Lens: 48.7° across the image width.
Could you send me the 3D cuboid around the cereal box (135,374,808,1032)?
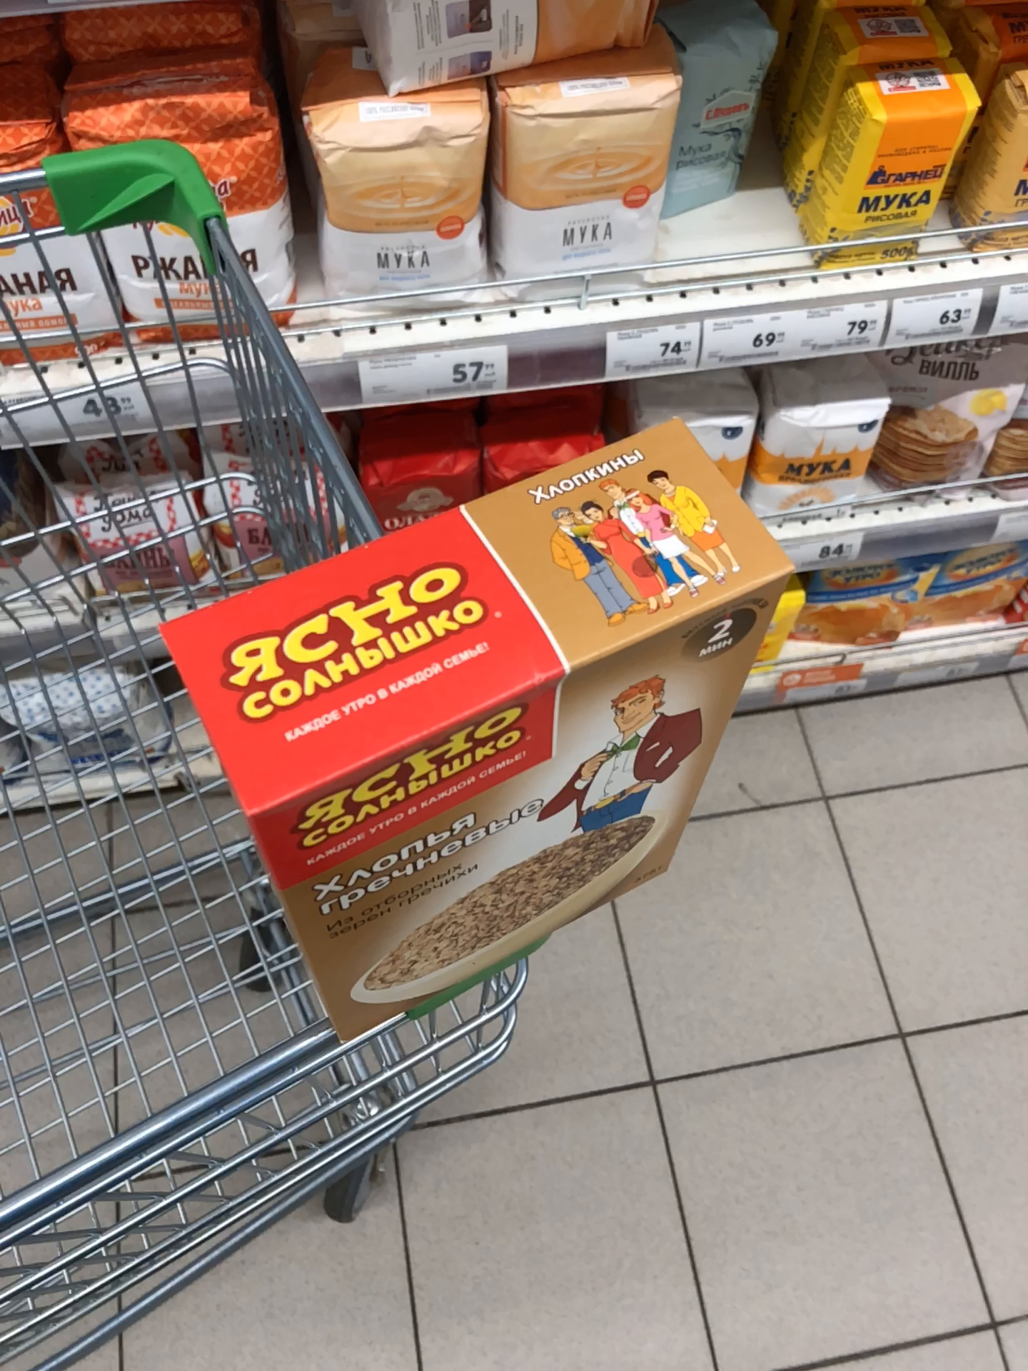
[{"bbox_3d":[-0.011,0.021,0.325,0.130,0.189,0.060,-24,64,-14],"label":"cereal box"}]
